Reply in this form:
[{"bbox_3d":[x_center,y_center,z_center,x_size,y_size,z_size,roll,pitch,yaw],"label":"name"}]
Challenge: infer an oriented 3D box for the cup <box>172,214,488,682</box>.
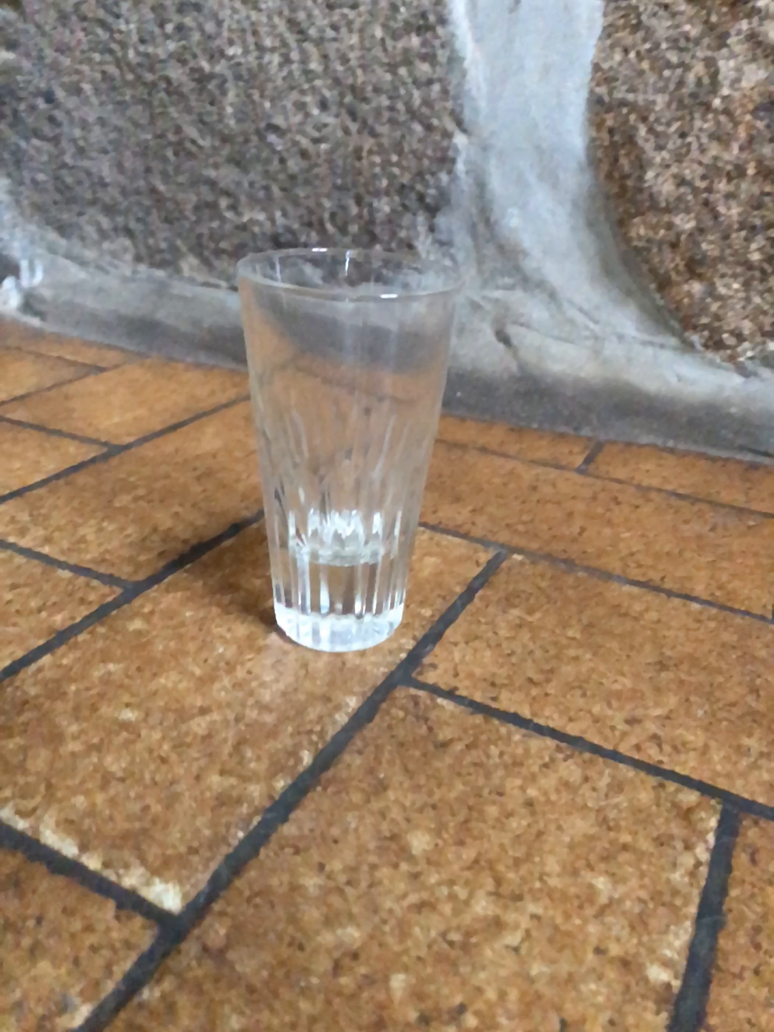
[{"bbox_3d":[-0.015,-0.025,0.267,0.070,0.119,0.070,3,25,-1],"label":"cup"}]
